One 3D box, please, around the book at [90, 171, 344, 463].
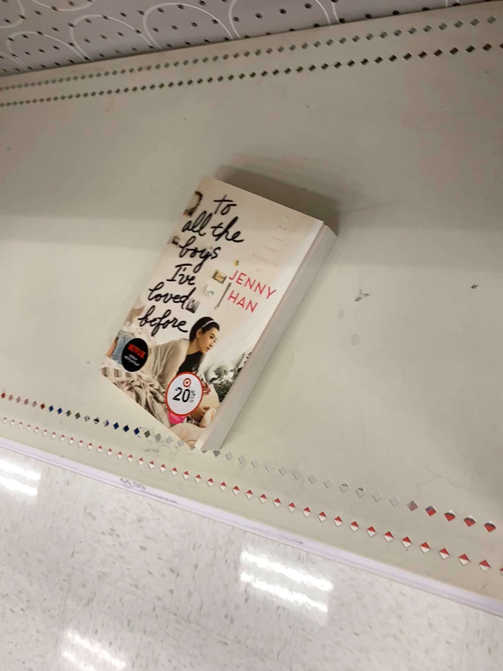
[{"bbox_3d":[-0.036,-0.021,0.454,0.144,0.034,0.213,30,92,28],"label":"book"}]
